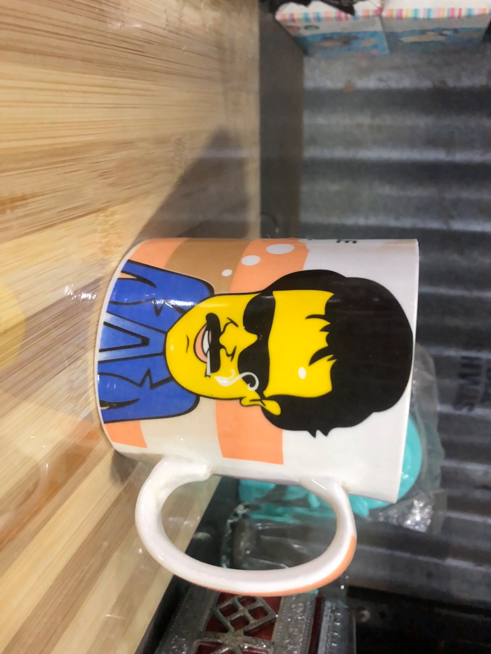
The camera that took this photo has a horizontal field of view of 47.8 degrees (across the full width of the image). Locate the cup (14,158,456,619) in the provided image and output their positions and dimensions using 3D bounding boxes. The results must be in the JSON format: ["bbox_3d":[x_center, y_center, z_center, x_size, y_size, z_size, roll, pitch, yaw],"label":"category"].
[{"bbox_3d":[0.009,0.017,0.165,0.070,0.090,0.110,72,25,-61],"label":"cup"}]
